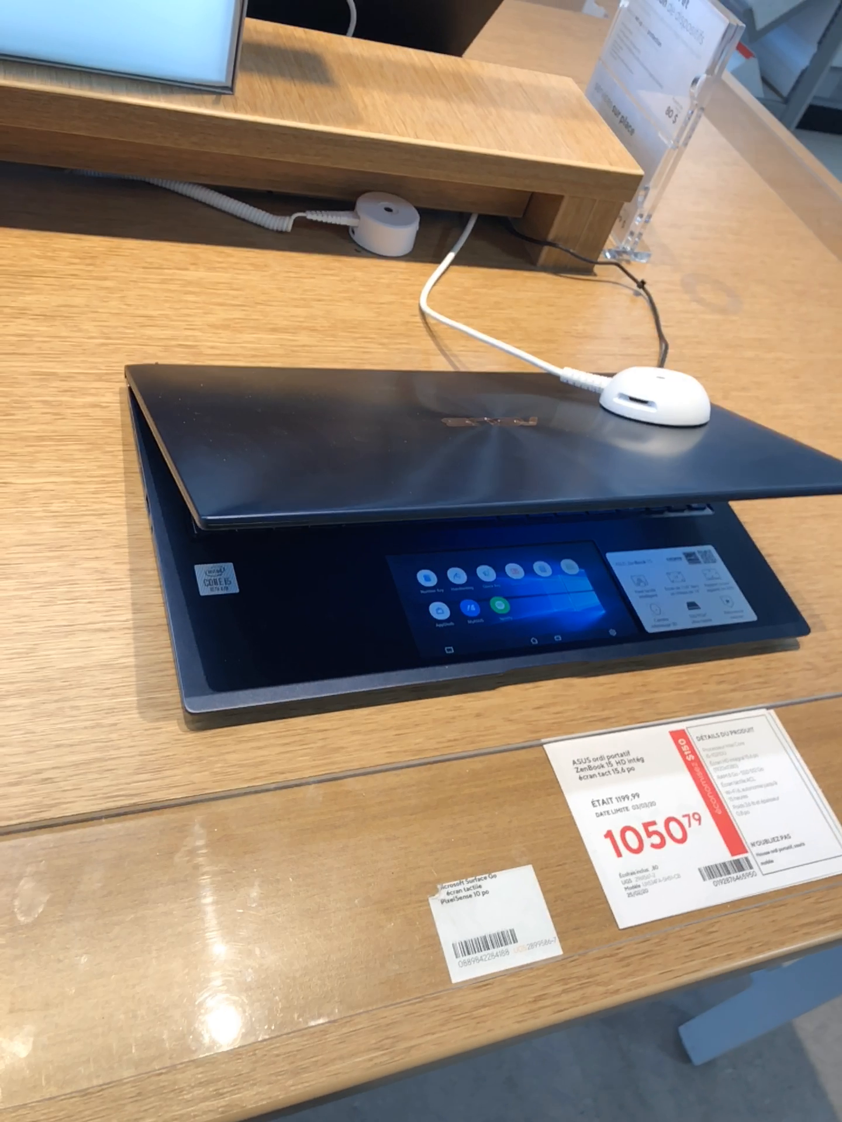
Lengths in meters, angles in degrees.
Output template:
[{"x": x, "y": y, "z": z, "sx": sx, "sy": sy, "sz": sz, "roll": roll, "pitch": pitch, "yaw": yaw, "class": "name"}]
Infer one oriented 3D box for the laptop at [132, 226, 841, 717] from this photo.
[{"x": 0.046, "y": -0.058, "z": 0.485, "sx": 0.353, "sy": 0.098, "sz": 0.209, "roll": -4, "pitch": 52, "yaw": -25, "class": "laptop"}]
